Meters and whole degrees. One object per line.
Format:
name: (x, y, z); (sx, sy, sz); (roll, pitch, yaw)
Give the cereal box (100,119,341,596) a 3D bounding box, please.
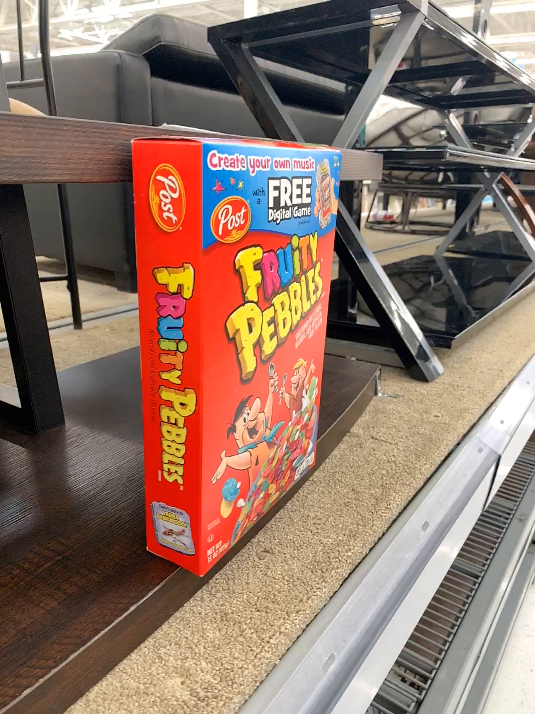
cereal box: (-0.023, -0.013, 0.438); (0.060, 0.309, 0.211); (12, 21, 28)
